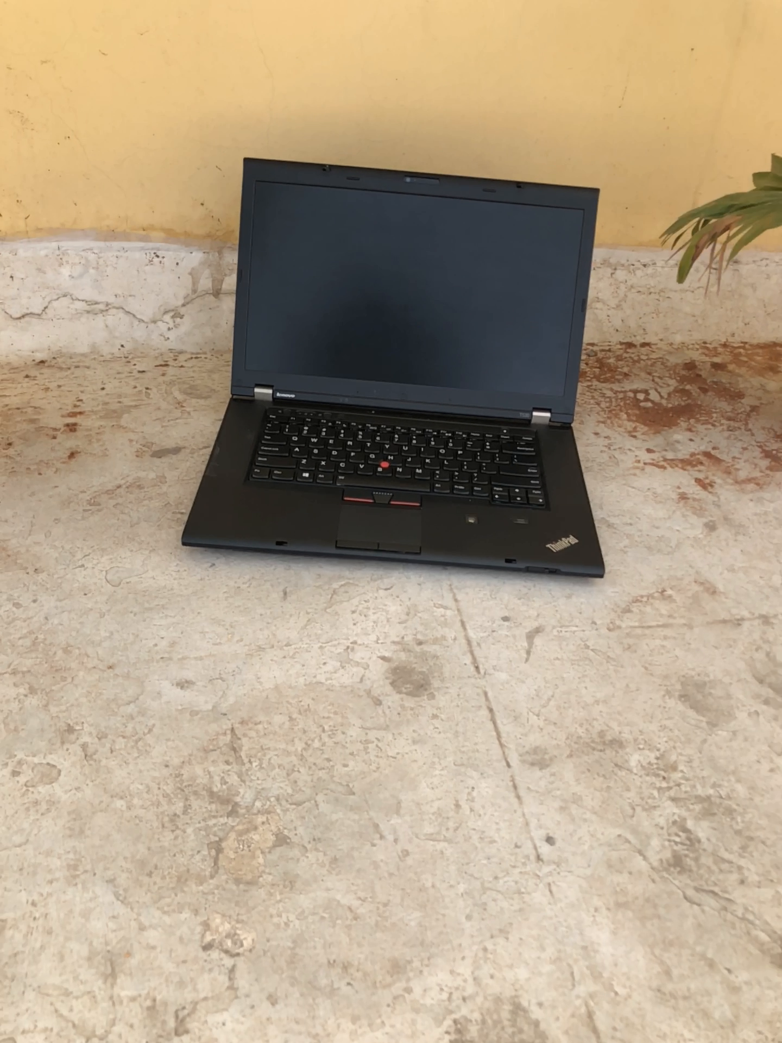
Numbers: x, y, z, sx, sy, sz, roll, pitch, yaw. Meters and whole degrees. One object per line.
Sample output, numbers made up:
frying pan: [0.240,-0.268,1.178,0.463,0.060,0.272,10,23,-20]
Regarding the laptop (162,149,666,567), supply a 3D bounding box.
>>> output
laptop: [0.019,-0.171,0.807,0.360,0.208,0.354,4,39,-1]
